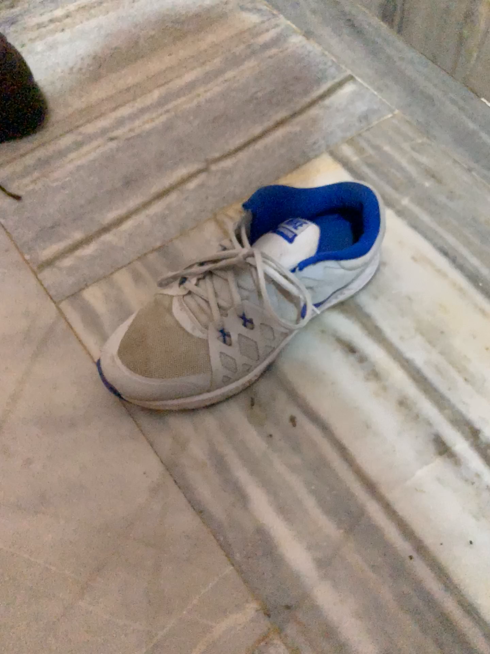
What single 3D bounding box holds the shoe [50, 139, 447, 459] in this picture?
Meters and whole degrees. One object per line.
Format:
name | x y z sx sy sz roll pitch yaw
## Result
shoe | 0.009 -0.029 0.445 0.300 0.100 0.116 -32 69 -16
